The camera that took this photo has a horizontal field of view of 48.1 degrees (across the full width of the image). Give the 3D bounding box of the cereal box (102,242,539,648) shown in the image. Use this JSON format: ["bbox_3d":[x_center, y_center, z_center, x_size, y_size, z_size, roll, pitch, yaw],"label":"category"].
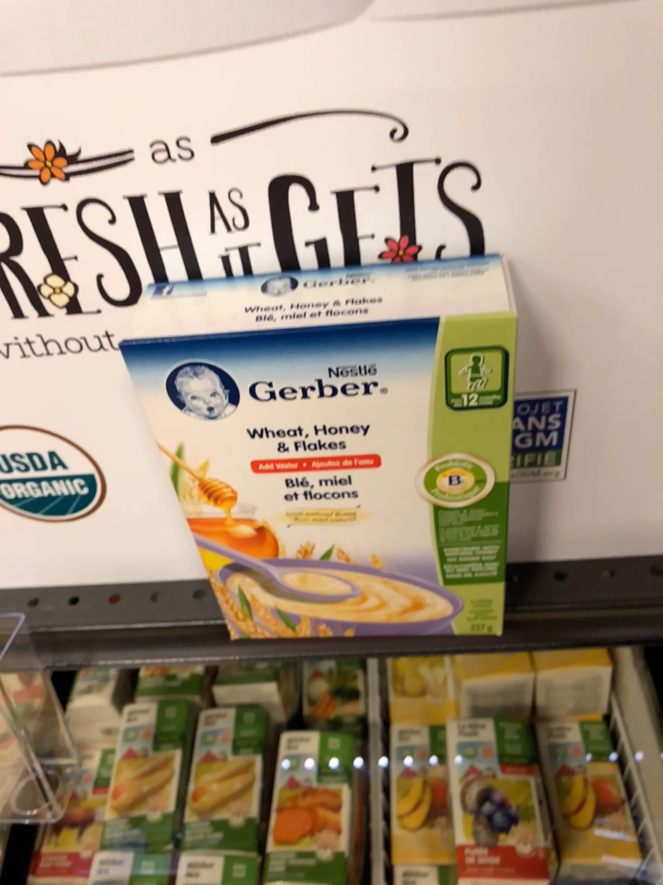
[{"bbox_3d":[0.008,0.018,0.338,0.150,0.199,0.050,-3,44,8],"label":"cereal box"}]
